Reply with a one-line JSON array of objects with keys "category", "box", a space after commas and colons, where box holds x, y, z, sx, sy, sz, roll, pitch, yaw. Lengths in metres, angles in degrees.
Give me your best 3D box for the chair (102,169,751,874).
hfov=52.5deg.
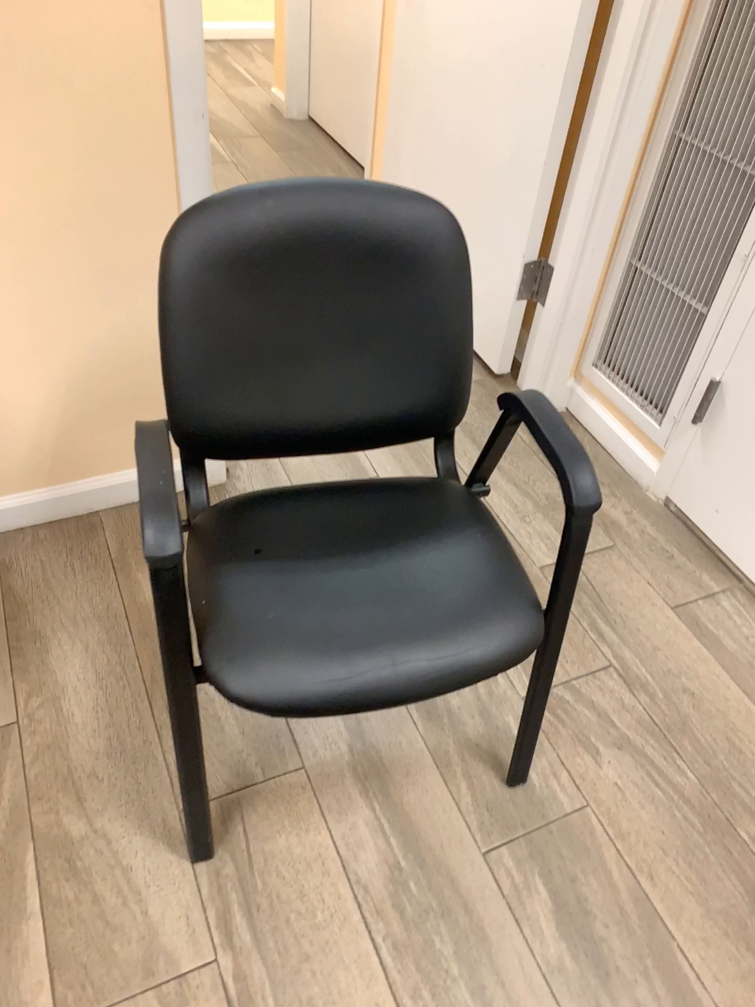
[{"category": "chair", "box": [-0.036, 0.026, 1.167, 0.606, 0.817, 0.608, -7, 45, -14]}]
